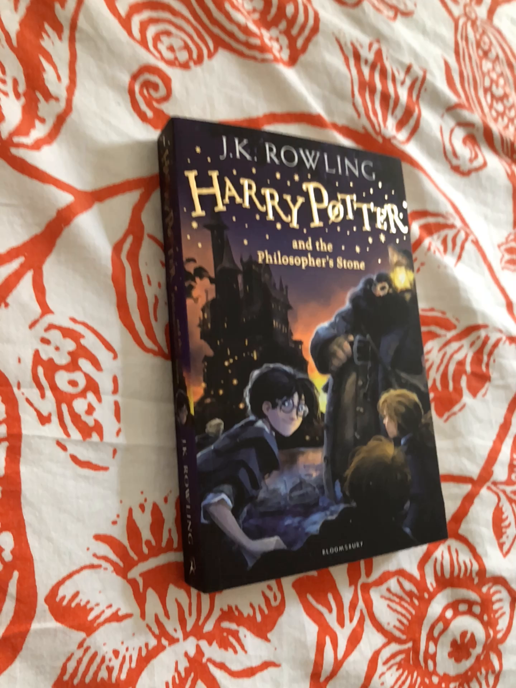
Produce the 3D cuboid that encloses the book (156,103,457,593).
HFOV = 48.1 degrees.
[{"bbox_3d":[0.024,-0.003,0.260,0.127,0.020,0.189,-1,82,-28],"label":"book"}]
